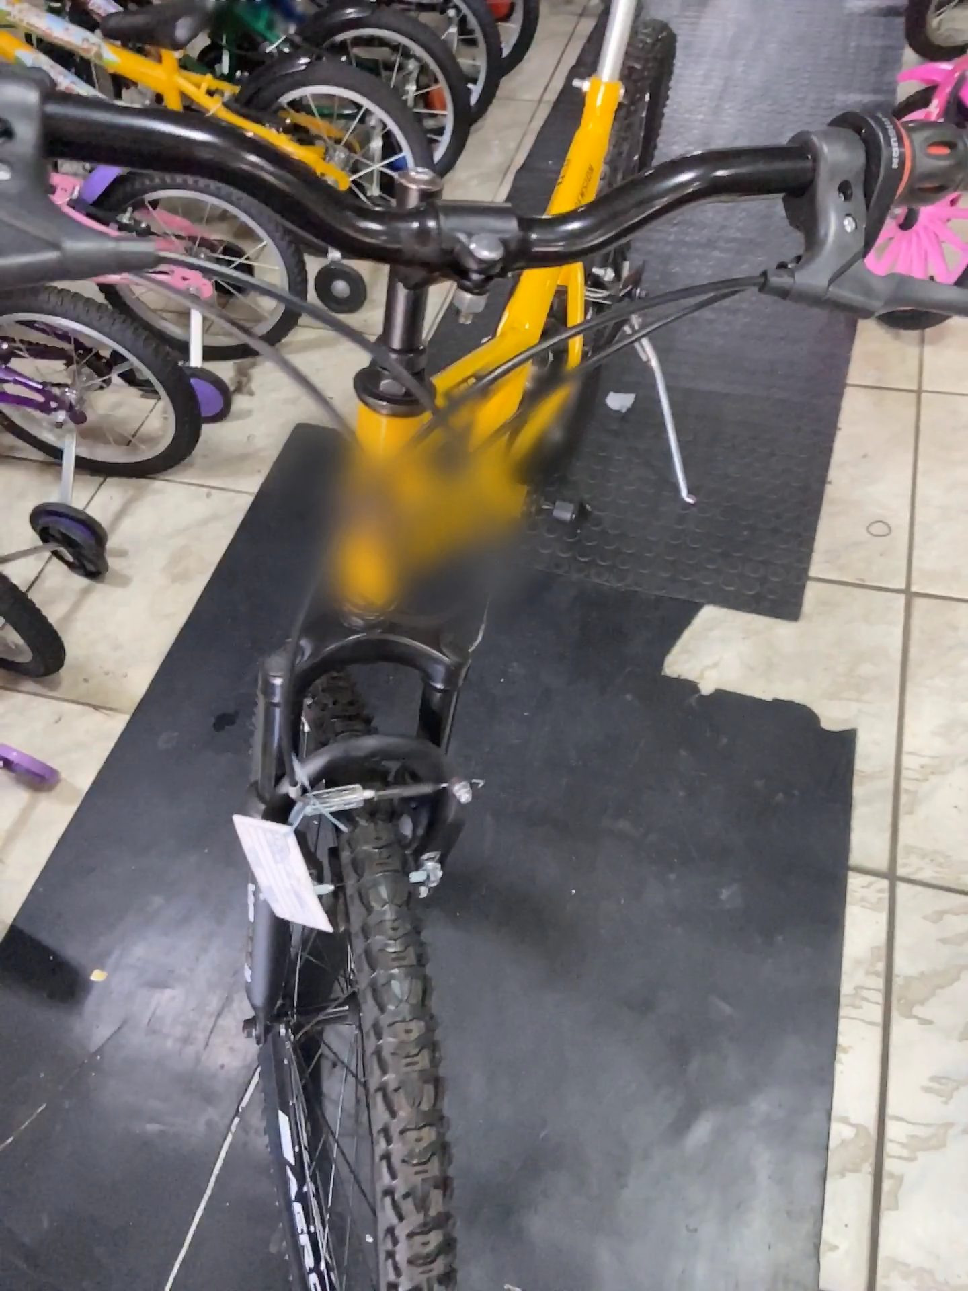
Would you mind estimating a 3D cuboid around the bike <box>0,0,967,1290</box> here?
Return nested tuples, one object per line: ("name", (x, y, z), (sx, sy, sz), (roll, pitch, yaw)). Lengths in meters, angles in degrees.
("bike", (0.037, -0.250, 0.862), (0.475, 0.987, 1.527), (5, 52, 11))
